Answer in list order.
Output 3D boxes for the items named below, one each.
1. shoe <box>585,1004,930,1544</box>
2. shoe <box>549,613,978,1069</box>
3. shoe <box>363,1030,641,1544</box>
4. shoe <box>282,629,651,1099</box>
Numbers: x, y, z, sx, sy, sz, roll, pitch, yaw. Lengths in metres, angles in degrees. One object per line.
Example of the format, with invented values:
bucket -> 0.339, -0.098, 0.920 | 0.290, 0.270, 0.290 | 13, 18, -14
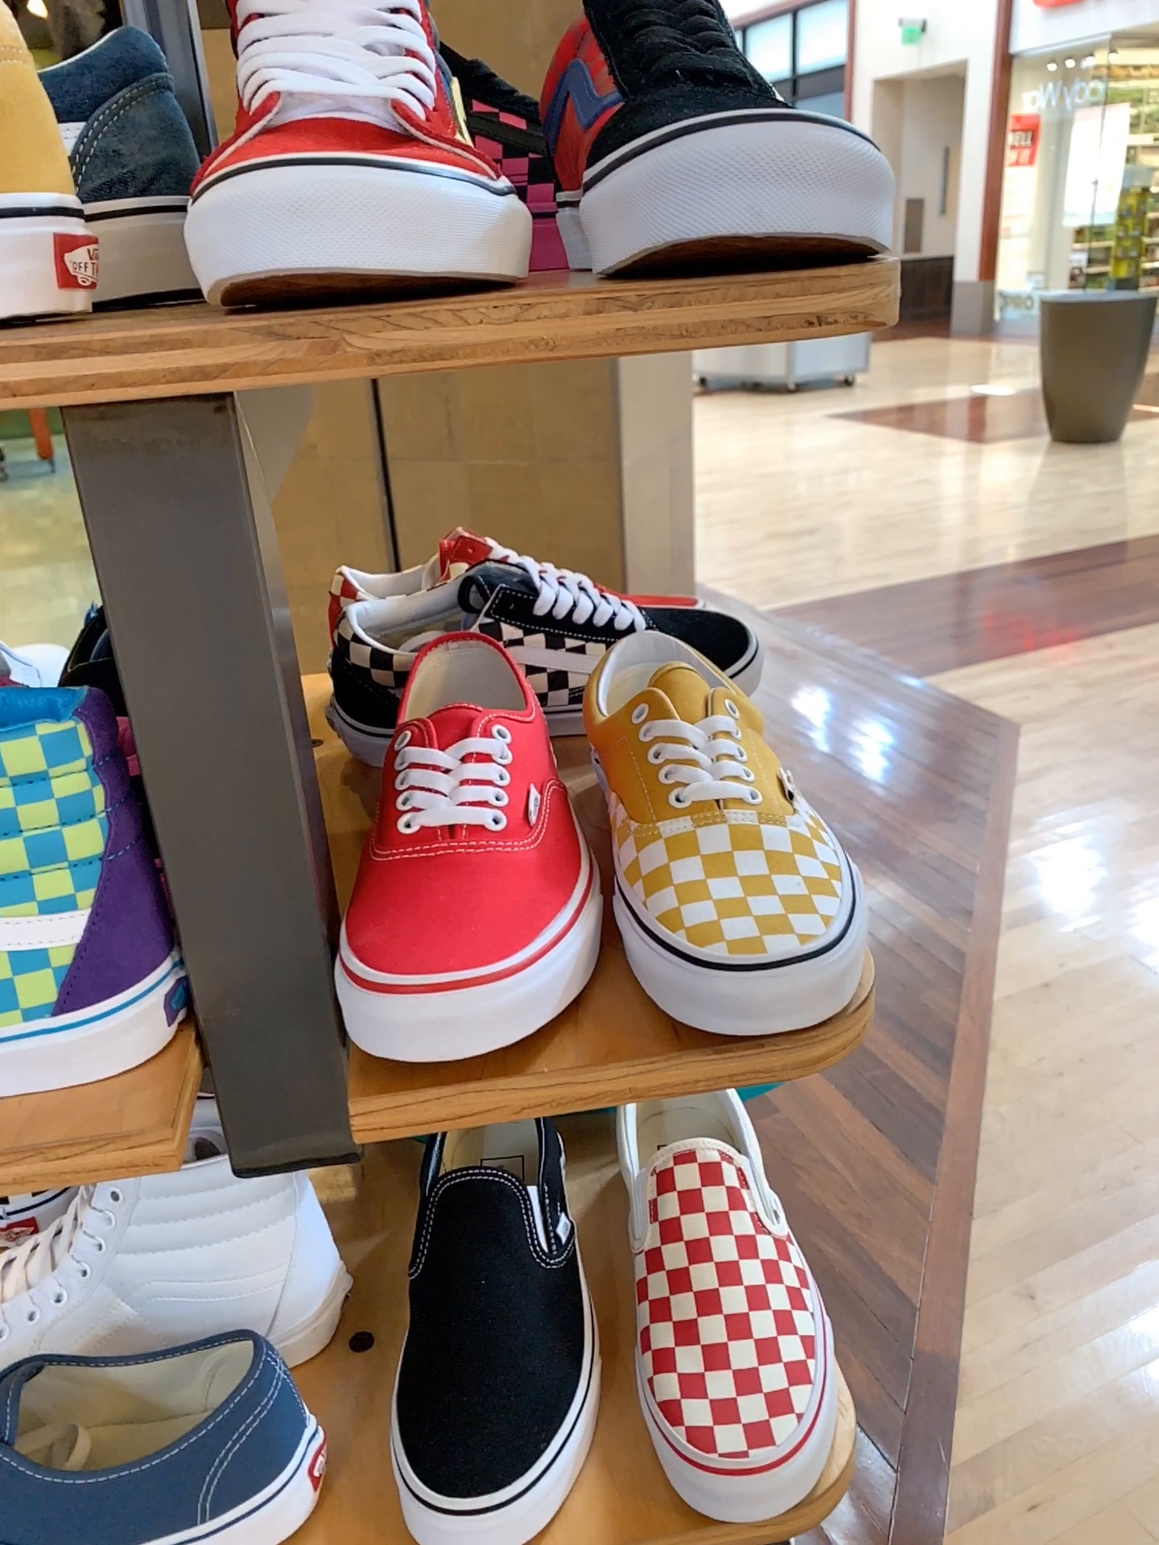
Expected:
shoe -> 0.070, 0.225, 0.588 | 0.103, 0.067, 0.269 | -5, 24, -4
shoe -> 0.056, 0.007, 0.498 | 0.103, 0.067, 0.269 | -6, 24, -6
shoe -> -0.043, 0.242, 0.593 | 0.105, 0.067, 0.269 | -5, 24, -4
shoe -> -0.047, 0.015, 0.494 | 0.109, 0.067, 0.269 | -5, 24, -4
